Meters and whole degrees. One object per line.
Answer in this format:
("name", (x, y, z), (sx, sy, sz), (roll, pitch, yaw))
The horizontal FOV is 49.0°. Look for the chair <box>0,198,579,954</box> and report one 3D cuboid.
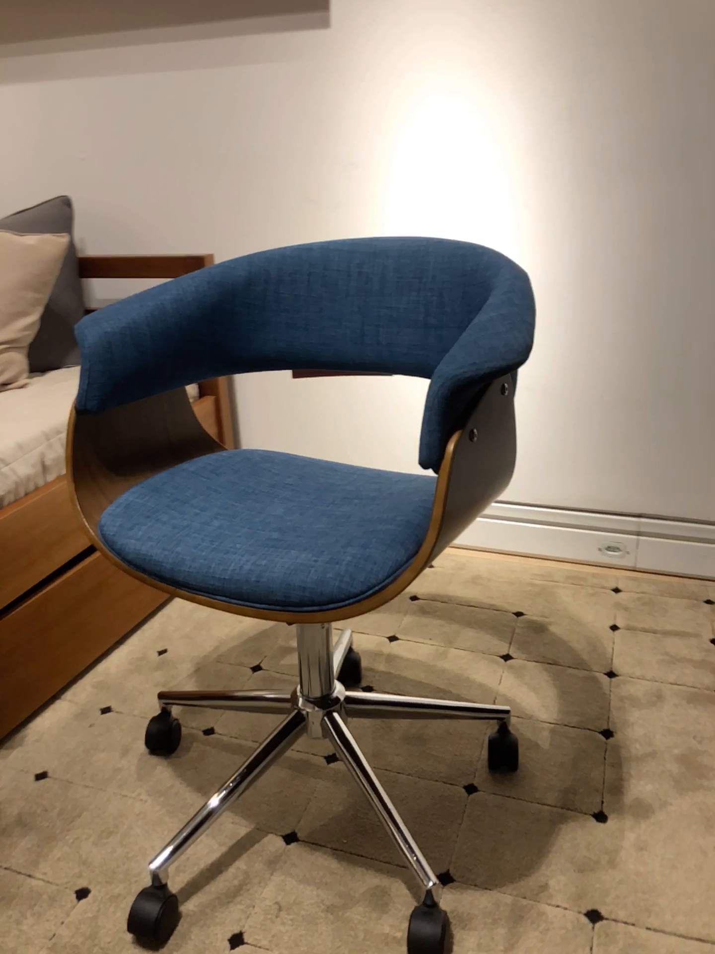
("chair", (-0.095, 0.063, 1.044), (0.610, 0.775, 0.674), (7, 23, 23))
